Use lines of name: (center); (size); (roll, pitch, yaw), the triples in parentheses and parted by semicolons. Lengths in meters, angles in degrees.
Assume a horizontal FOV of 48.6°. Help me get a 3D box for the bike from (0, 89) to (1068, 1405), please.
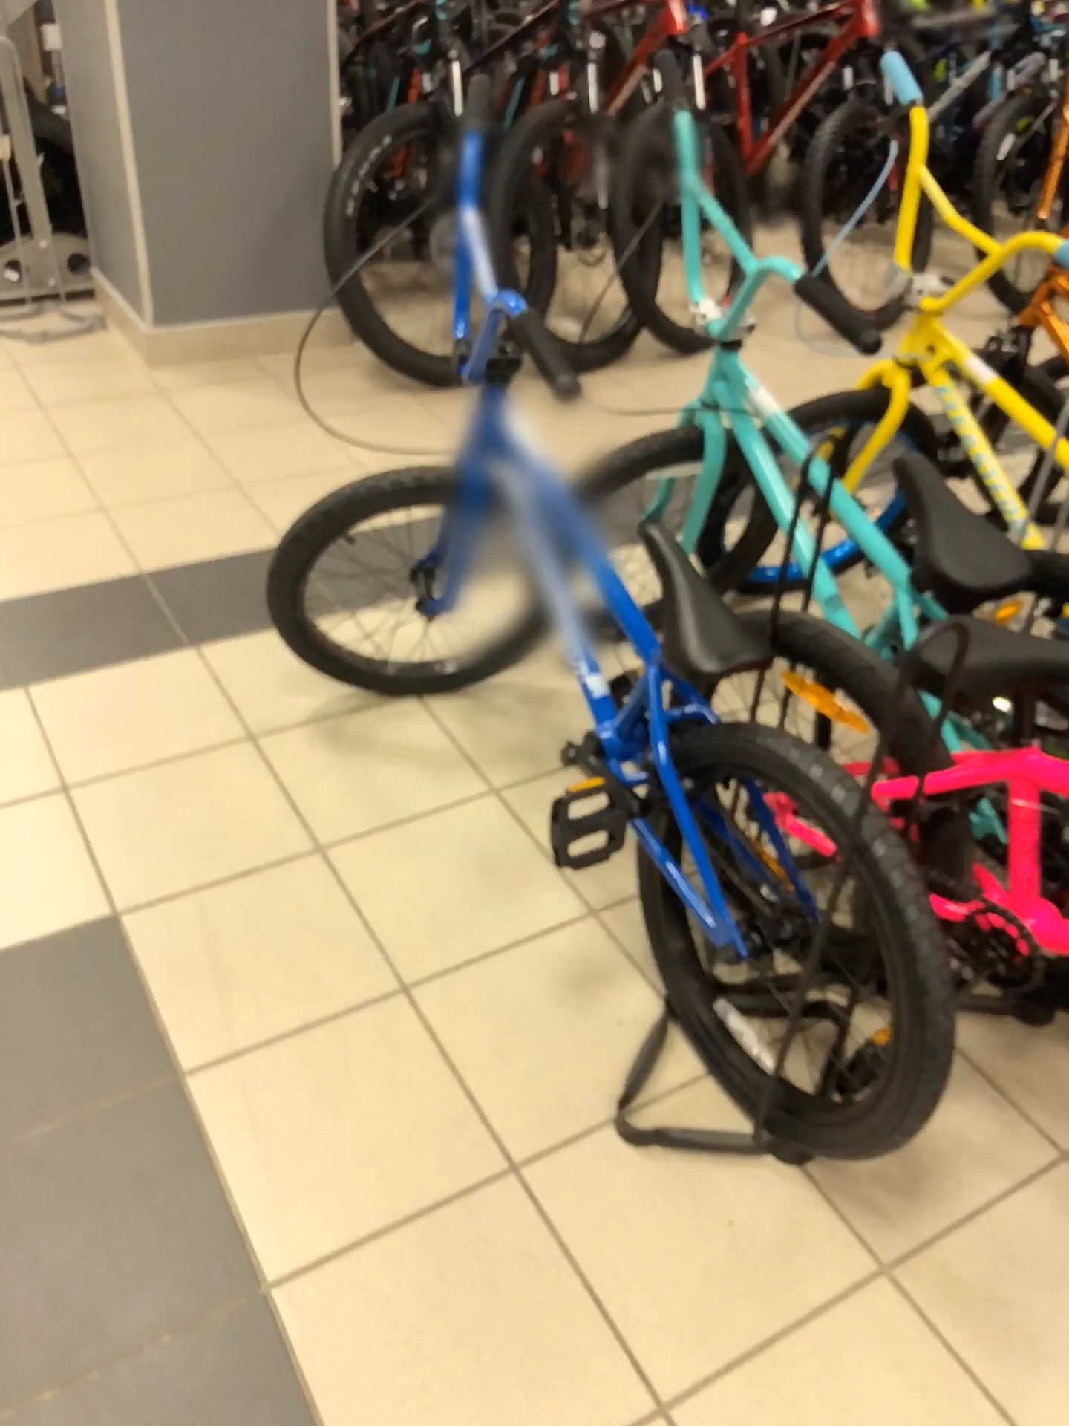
bike: (0.038, -0.117, 1.472); (0.823, 0.961, 1.260); (-22, 44, -32)
